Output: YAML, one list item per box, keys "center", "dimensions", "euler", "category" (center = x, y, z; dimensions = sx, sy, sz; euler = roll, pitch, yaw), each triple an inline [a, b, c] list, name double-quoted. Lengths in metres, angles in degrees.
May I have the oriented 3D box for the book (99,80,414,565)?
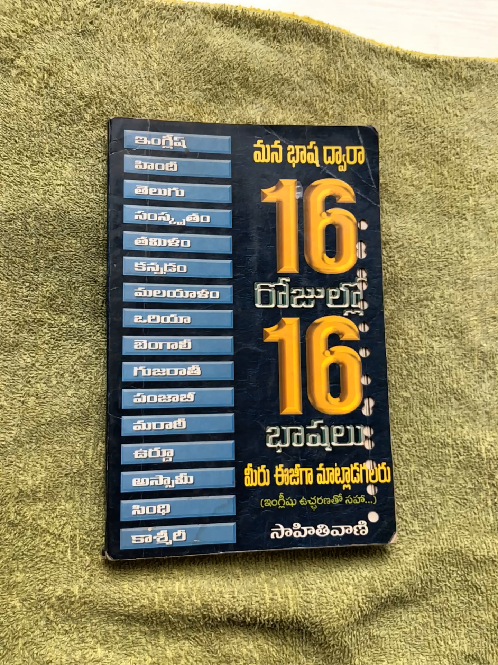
- center: [0.002, -0.008, 0.274]
  dimensions: [0.140, 0.030, 0.220]
  euler: [0, 83, -7]
  category: "book"
